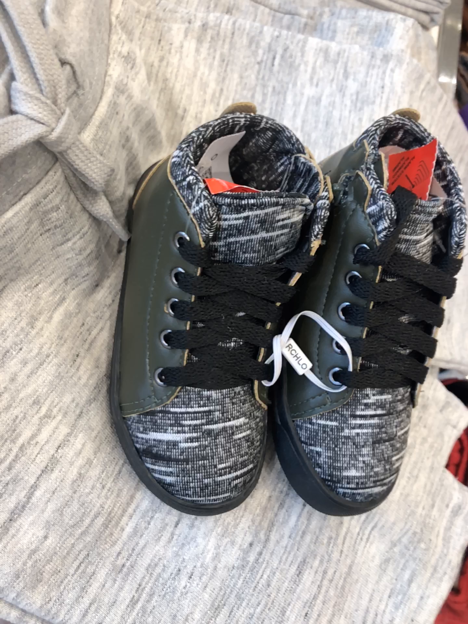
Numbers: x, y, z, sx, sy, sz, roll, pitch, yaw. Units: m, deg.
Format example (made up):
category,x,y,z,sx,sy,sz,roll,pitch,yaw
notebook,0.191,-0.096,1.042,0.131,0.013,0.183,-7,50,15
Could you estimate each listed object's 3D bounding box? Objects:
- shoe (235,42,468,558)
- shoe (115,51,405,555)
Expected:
category,x,y,z,sx,sy,sz,roll,pitch,yaw
shoe,0.061,-0.003,0.222,0.080,0.090,0.170,-1,76,-21
shoe,-0.001,0.000,0.216,0.080,0.090,0.160,2,75,-20
